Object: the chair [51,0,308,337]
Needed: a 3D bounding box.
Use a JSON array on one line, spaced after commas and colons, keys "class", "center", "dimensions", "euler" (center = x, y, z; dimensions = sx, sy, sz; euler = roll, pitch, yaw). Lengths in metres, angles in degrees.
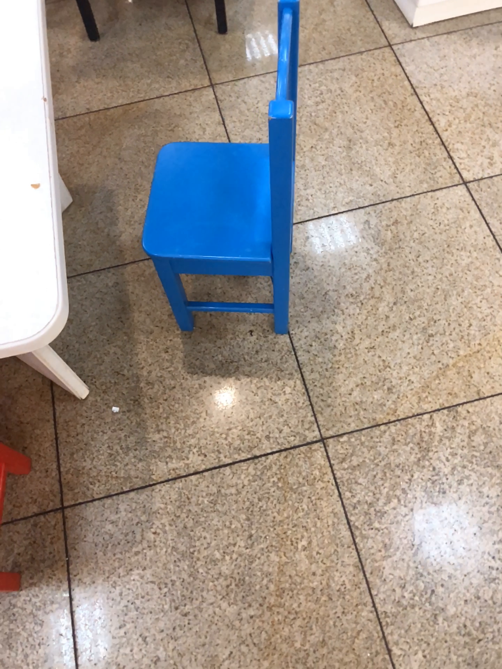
[{"class": "chair", "center": [-0.073, -0.273, 1.069], "dimensions": [0.330, 0.649, 0.290], "euler": [2, 64, 4]}]
